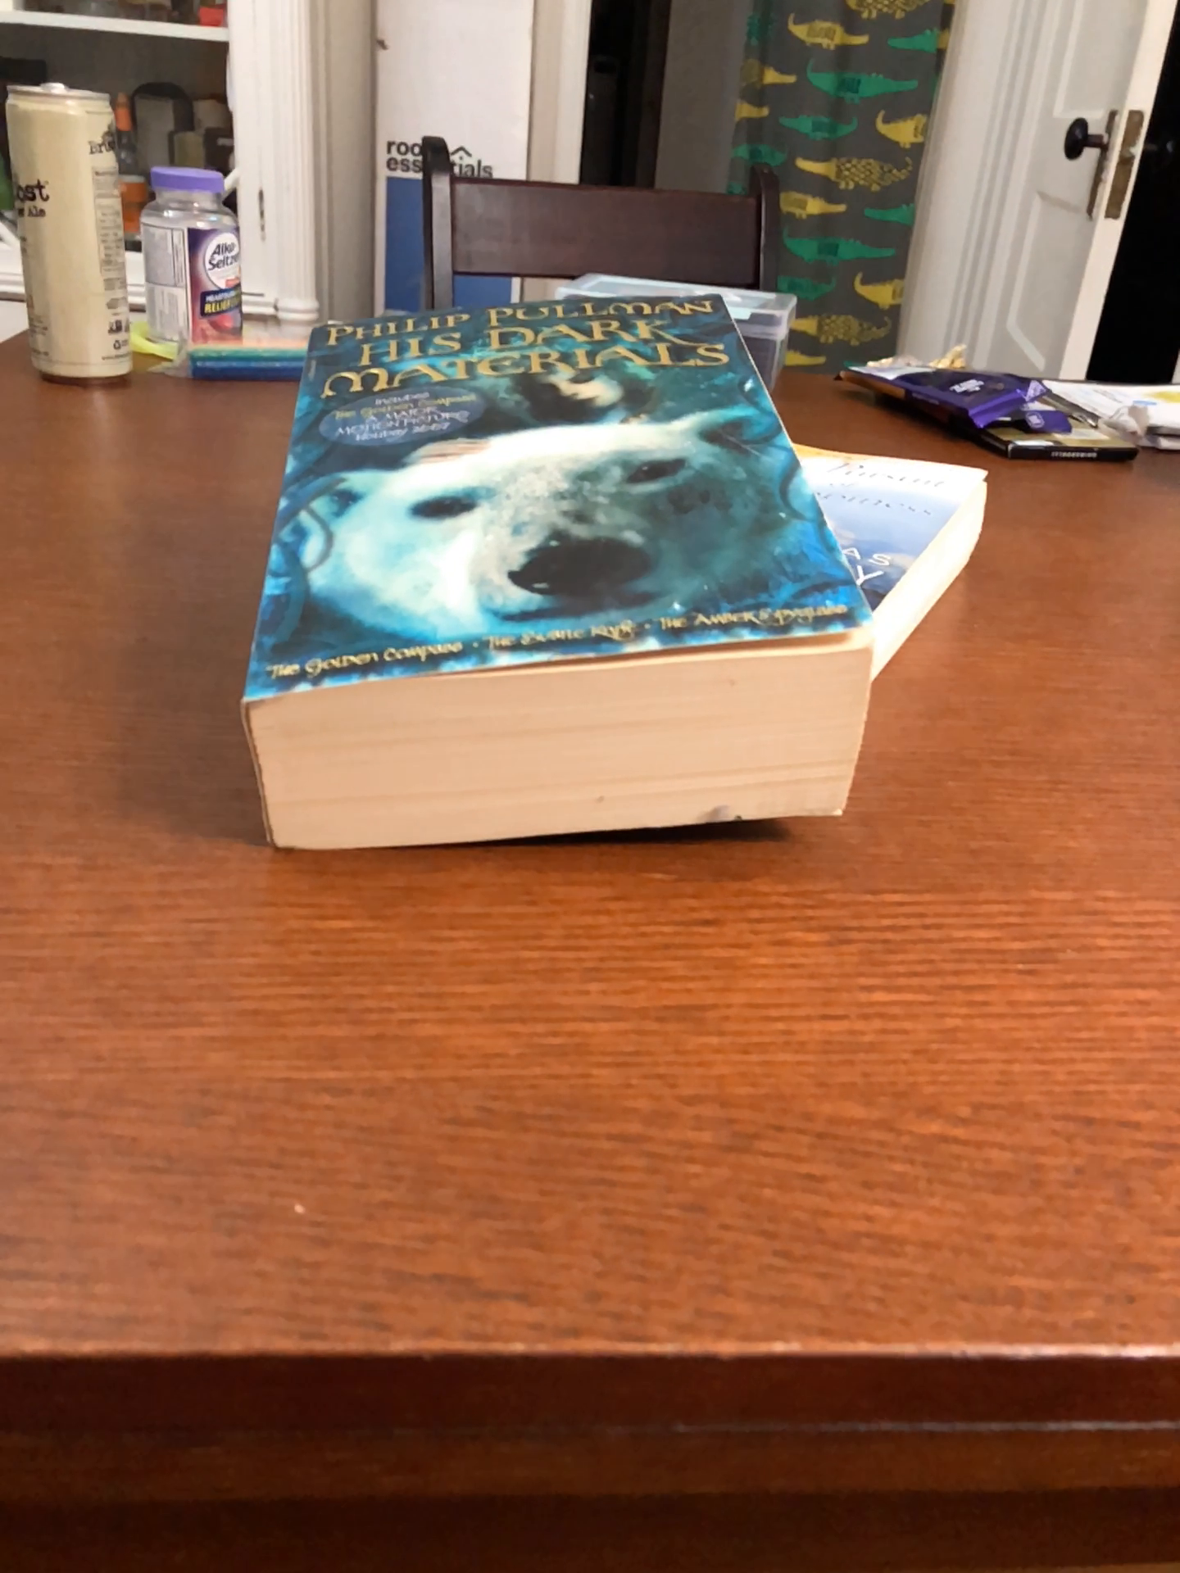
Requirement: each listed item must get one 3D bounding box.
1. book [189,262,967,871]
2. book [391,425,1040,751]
[{"bbox_3d":[-0.014,-0.085,0.392,0.170,0.060,0.242,-3,41,-6],"label":"book"},{"bbox_3d":[0.064,-0.094,0.517,0.170,0.040,0.241,12,30,27],"label":"book"}]
